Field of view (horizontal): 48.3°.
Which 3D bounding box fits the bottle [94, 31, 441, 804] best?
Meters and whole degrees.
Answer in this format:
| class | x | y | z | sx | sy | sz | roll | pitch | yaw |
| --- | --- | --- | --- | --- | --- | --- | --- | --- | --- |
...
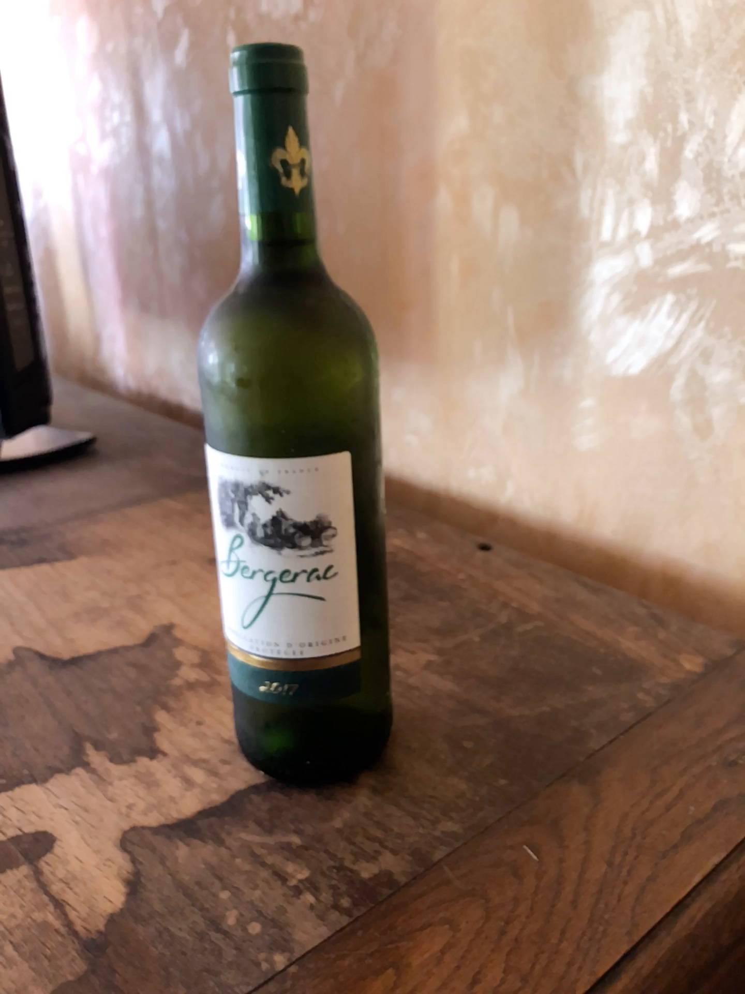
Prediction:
| class | x | y | z | sx | sy | sz | roll | pitch | yaw |
| --- | --- | --- | --- | --- | --- | --- | --- | --- | --- |
| bottle | -0.029 | -0.025 | 0.336 | 0.090 | 0.269 | 0.091 | -1 | 20 | 0 |
